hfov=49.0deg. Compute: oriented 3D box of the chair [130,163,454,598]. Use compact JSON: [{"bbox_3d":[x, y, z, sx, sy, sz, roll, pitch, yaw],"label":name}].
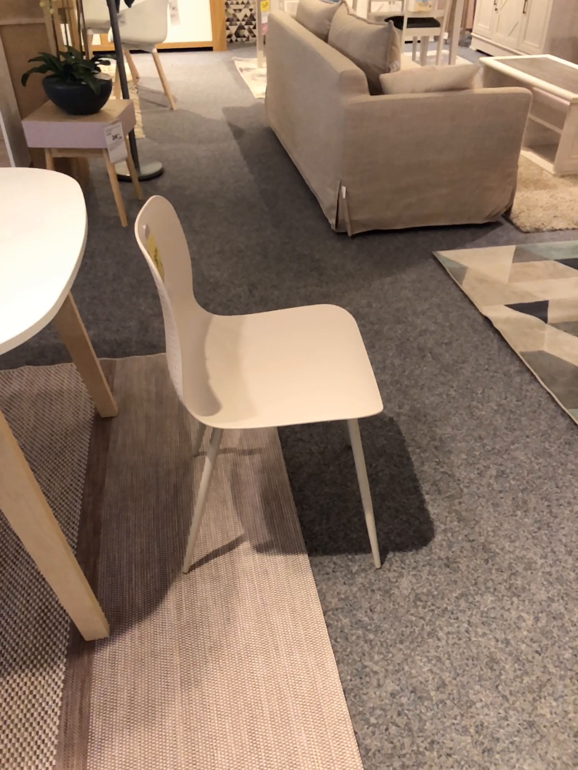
[{"bbox_3d":[-0.024,-0.011,1.392,0.500,0.765,0.503,-5,37,-7],"label":"chair"}]
